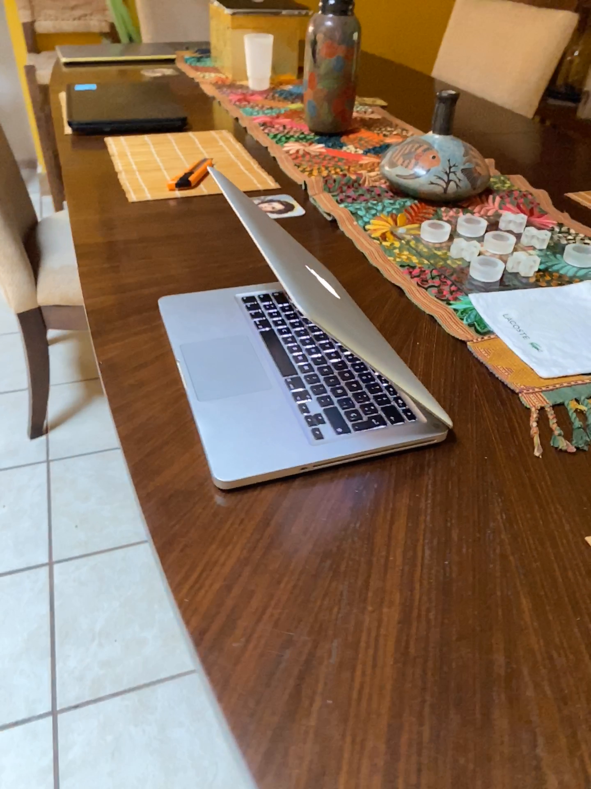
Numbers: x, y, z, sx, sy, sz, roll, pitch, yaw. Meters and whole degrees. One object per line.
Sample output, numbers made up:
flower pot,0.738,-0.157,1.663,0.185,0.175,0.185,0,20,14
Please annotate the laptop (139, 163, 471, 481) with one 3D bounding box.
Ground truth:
laptop,-0.018,-0.100,0.619,0.213,0.152,0.323,-11,40,-17
